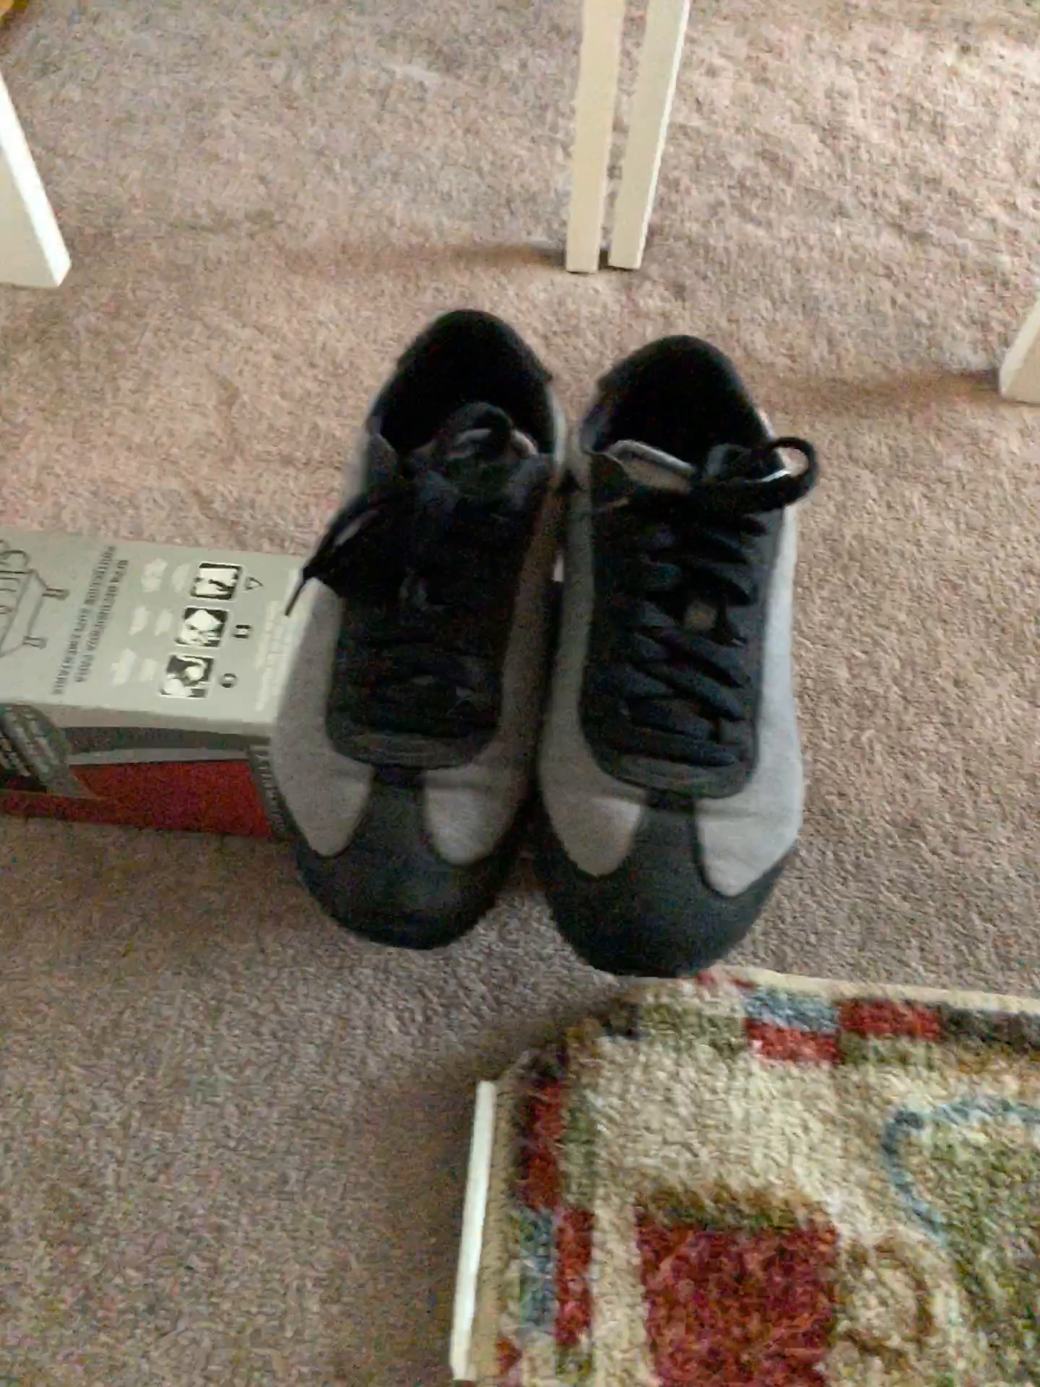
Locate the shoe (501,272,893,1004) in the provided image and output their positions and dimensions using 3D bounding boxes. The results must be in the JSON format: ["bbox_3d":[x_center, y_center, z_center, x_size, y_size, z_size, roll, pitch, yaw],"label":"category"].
[{"bbox_3d":[0.055,-0.028,0.383,0.100,0.099,0.242,5,58,1],"label":"shoe"}]

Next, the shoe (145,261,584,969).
[{"bbox_3d":[-0.038,-0.036,0.374,0.100,0.089,0.232,5,58,1],"label":"shoe"}]
